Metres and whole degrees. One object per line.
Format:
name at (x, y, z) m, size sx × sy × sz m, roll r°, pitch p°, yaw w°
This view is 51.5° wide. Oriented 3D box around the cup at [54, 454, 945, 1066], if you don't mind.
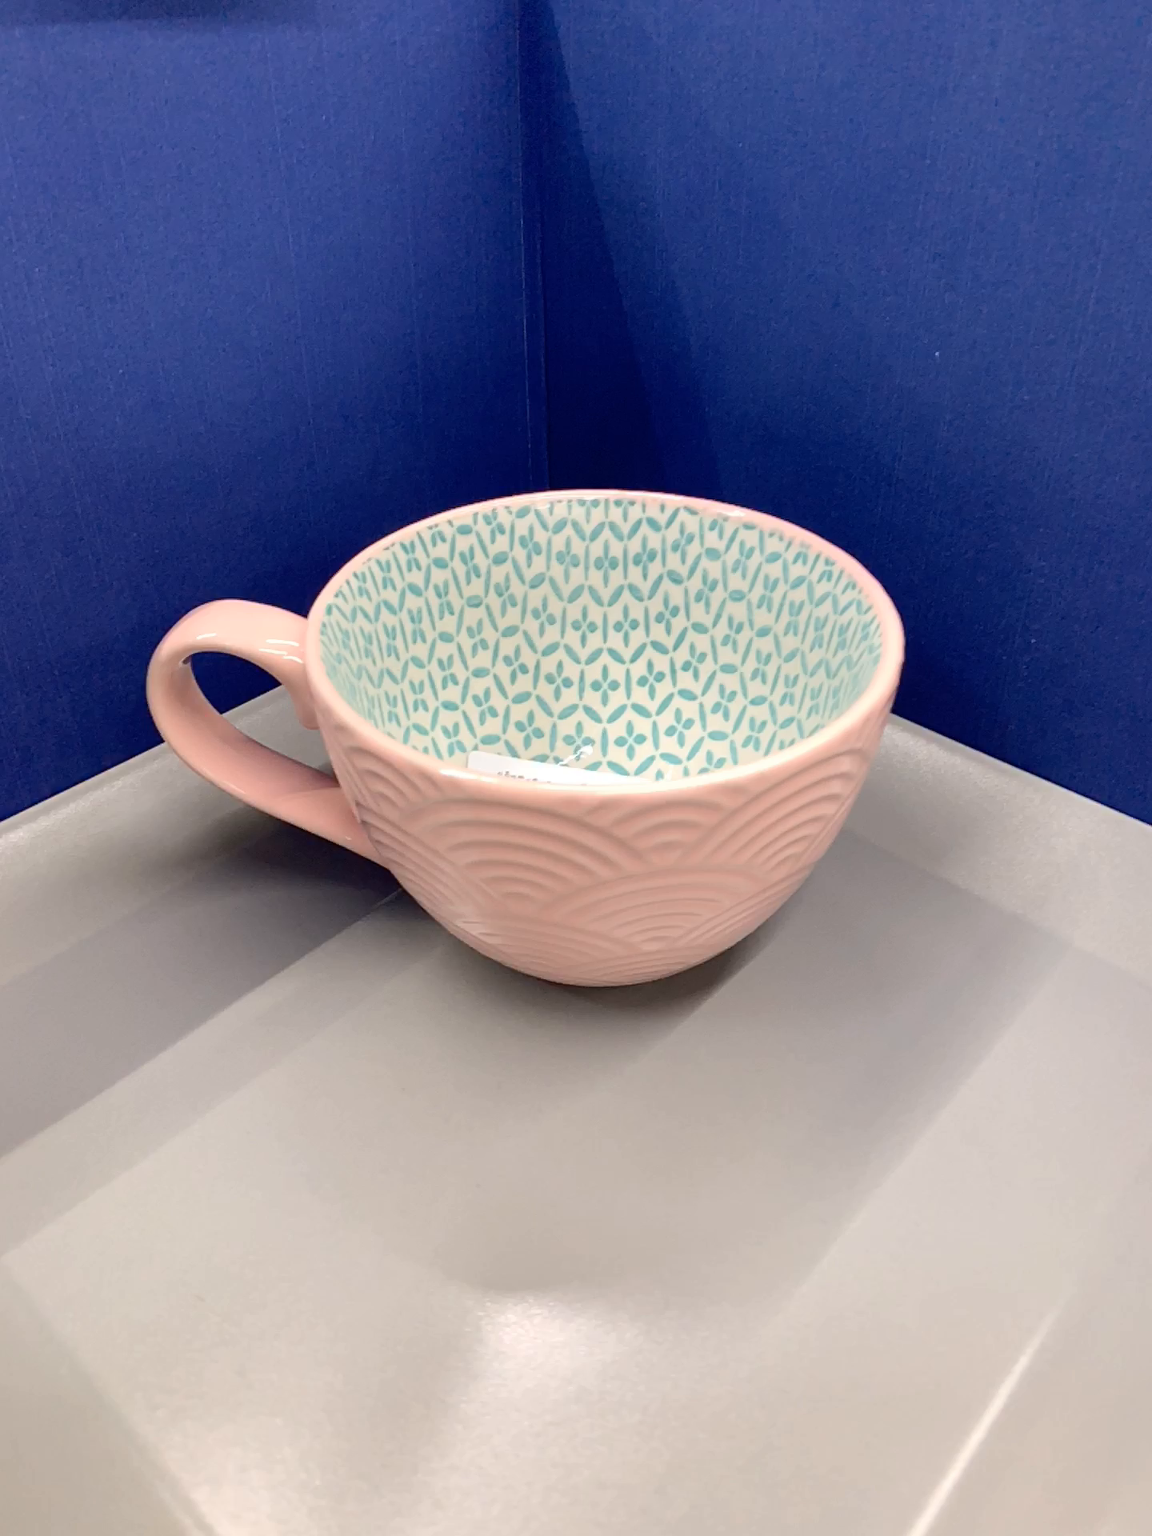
cup at (-0.007, -0.008, 0.256) m, size 0.150 × 0.064 × 0.105 m, roll 5°, pitch 44°, yaw 8°
